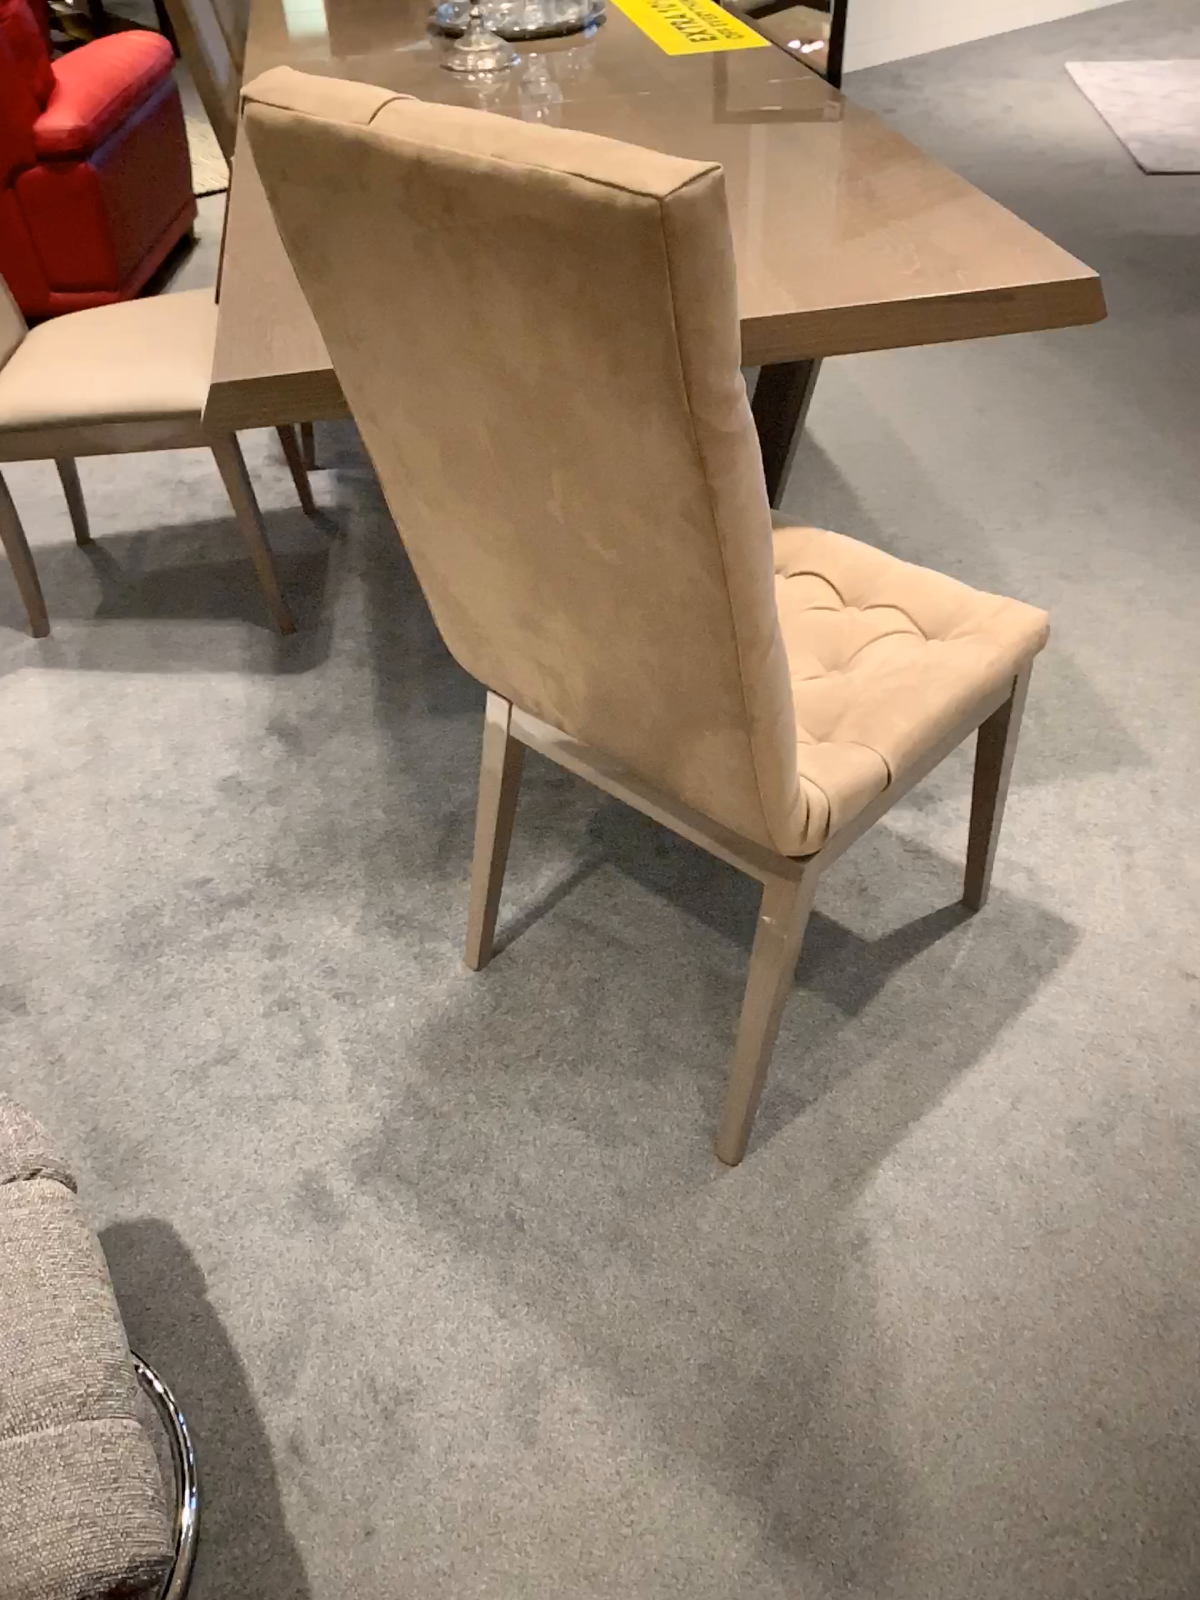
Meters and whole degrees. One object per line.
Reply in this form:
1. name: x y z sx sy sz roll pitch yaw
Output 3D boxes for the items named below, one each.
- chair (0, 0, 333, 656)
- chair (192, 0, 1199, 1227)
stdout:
1. chair: -0.911 -0.827 2.068 0.636 1.021 0.528 -1 42 2
2. chair: 0.134 -0.211 1.251 0.526 1.021 0.639 29 51 31
